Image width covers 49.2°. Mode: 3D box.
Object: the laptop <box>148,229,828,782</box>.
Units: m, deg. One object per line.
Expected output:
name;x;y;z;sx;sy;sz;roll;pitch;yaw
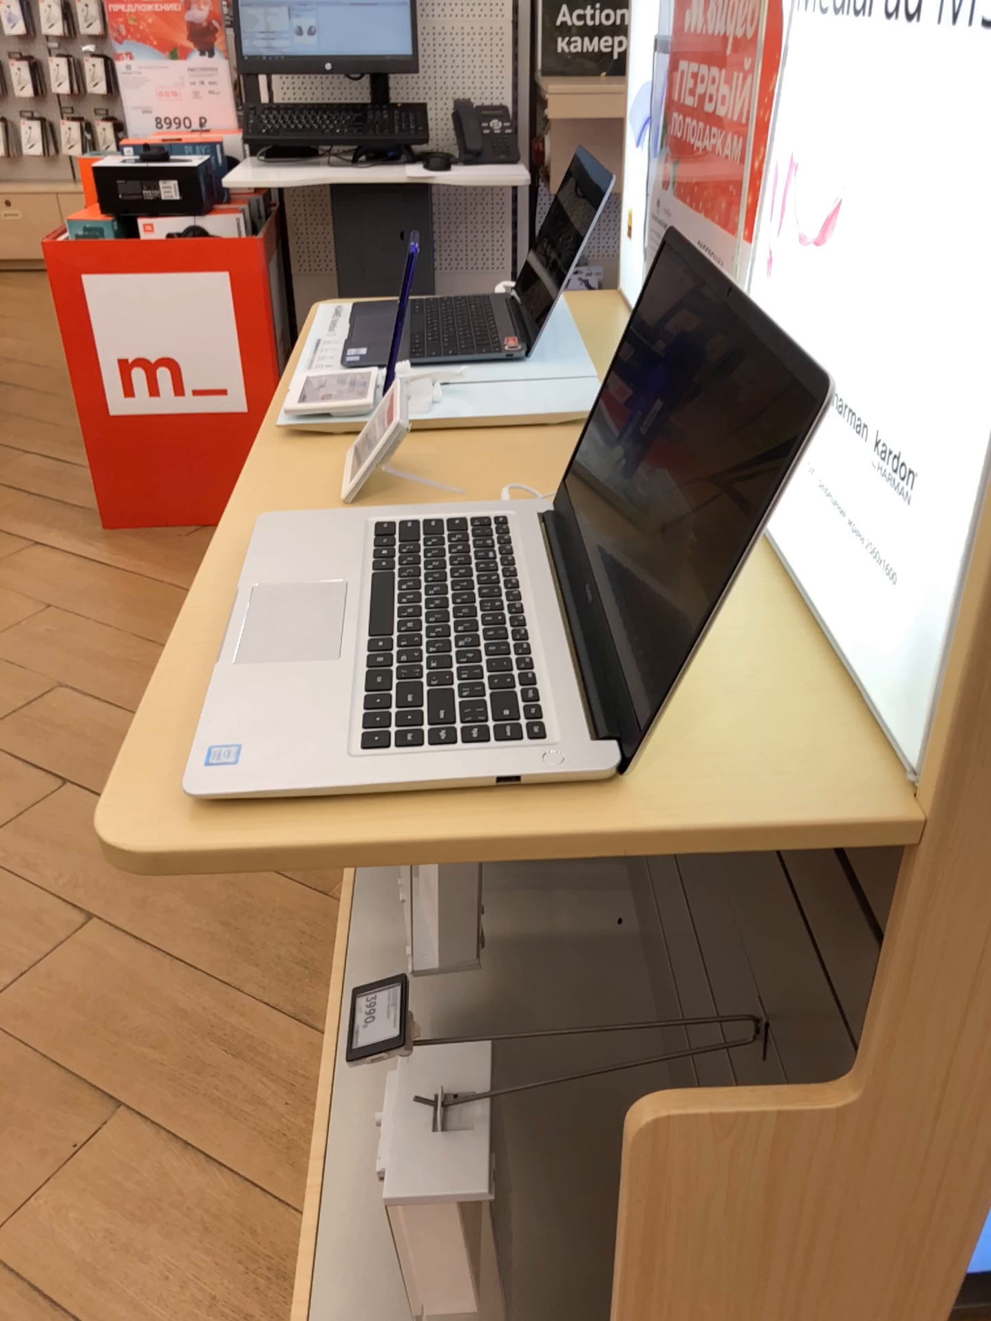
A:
laptop;-0.014;-0.123;0.680;0.305;0.204;0.342;-3;33;-3
